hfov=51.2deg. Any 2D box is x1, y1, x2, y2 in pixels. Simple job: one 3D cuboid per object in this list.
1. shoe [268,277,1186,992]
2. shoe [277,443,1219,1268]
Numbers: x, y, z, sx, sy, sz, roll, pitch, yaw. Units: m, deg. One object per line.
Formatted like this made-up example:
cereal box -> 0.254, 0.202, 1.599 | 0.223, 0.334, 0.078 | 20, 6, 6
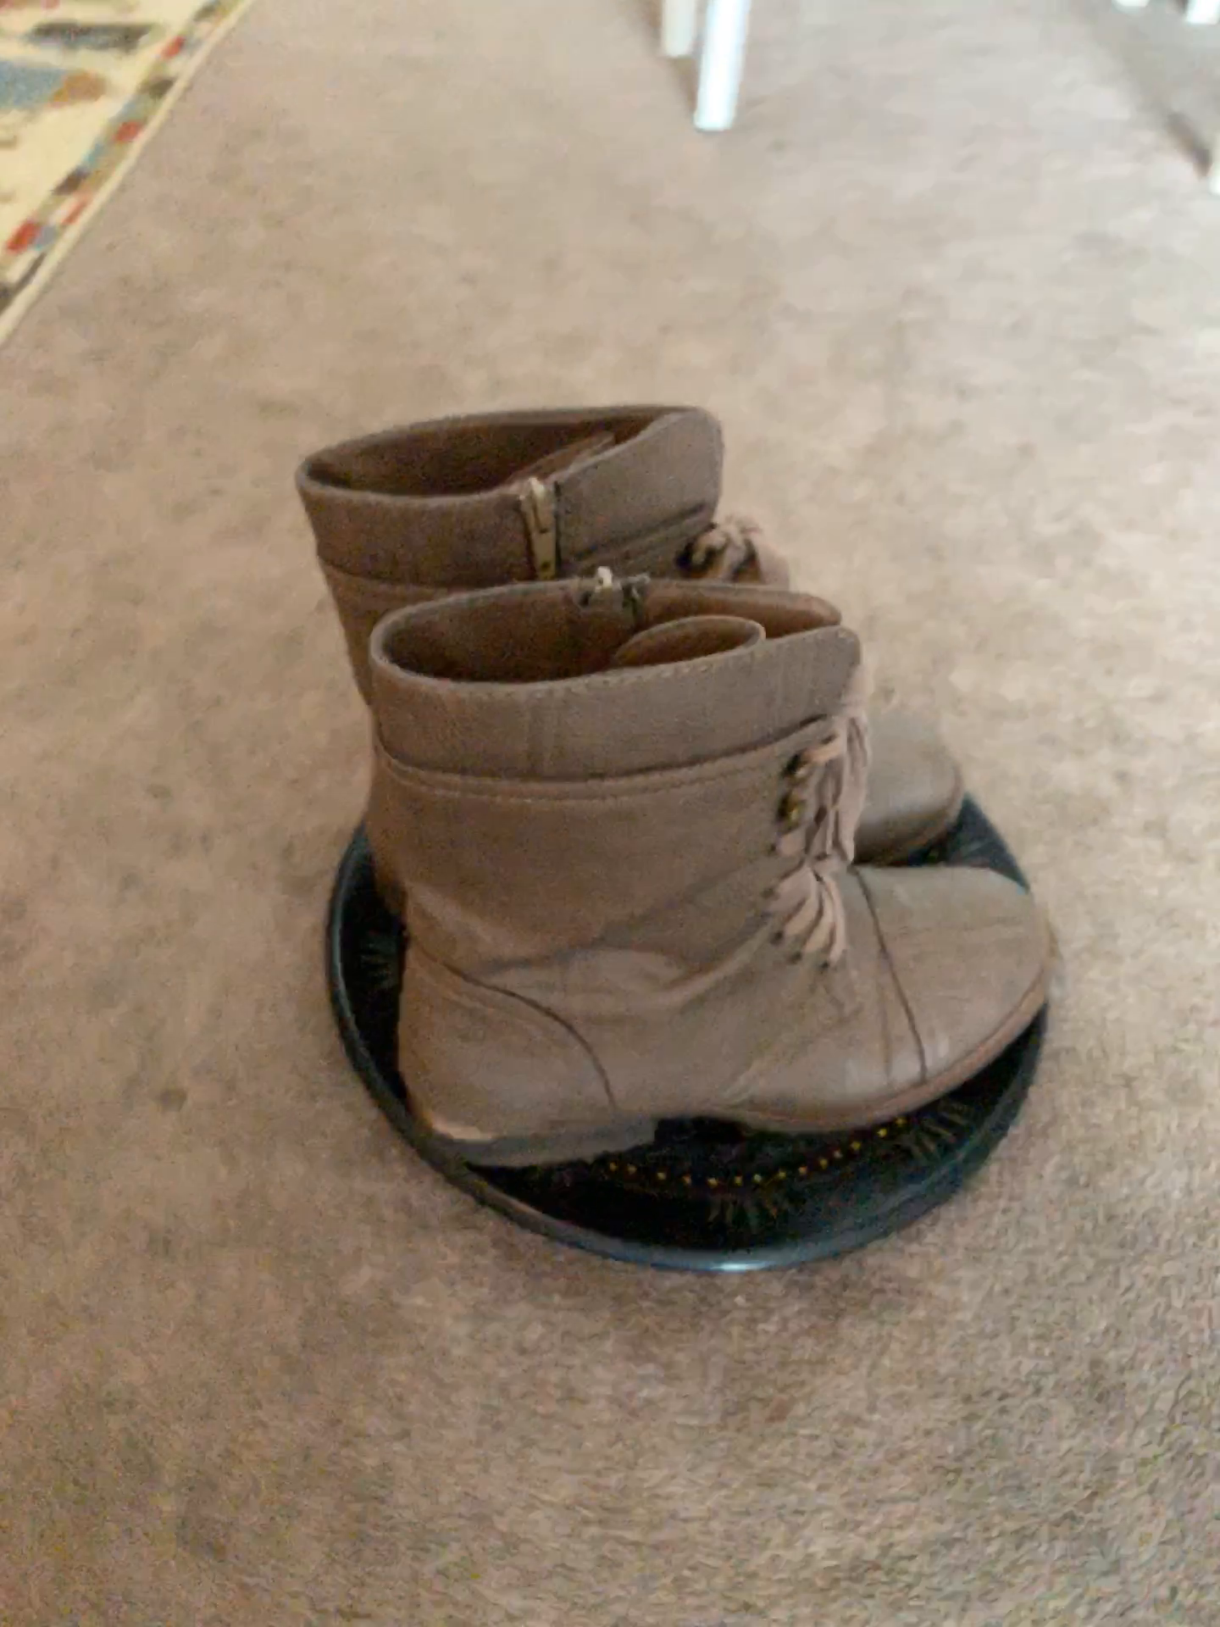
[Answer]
shoe -> 0.032, -0.059, 0.462 | 0.260, 0.198, 0.101 | -12, 51, -11
shoe -> 0.058, 0.019, 0.393 | 0.270, 0.198, 0.101 | -12, 51, -11
